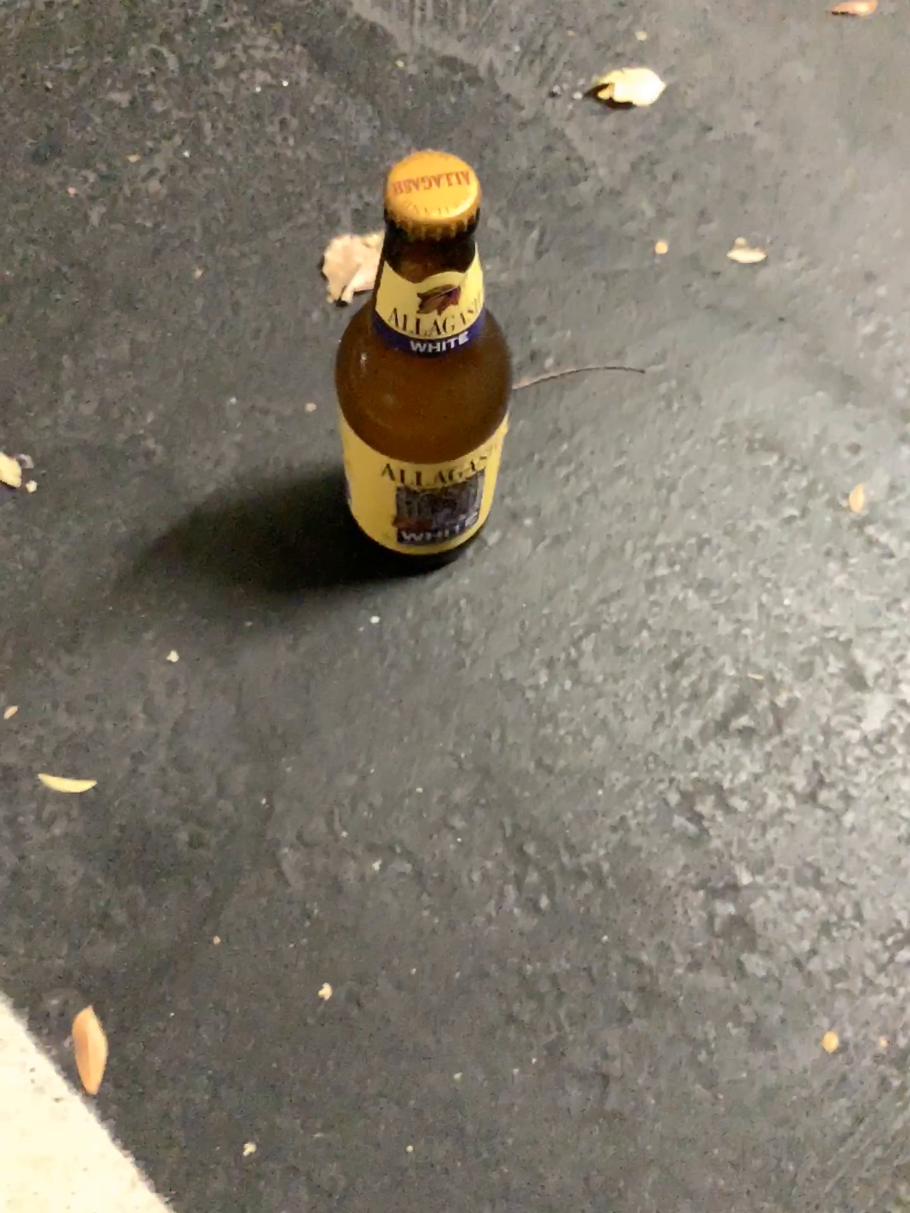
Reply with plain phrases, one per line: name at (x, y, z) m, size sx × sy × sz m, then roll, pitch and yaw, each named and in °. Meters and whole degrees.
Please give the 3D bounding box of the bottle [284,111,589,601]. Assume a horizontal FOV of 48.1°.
bottle at (-0.012, -0.076, 0.380) m, size 0.070 × 0.190 × 0.070 m, roll 1°, pitch 69°, yaw -3°
